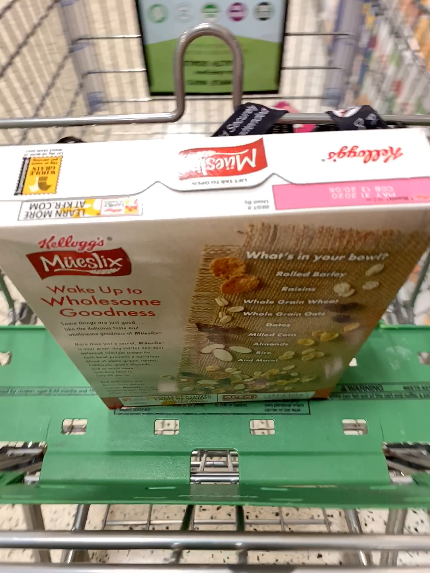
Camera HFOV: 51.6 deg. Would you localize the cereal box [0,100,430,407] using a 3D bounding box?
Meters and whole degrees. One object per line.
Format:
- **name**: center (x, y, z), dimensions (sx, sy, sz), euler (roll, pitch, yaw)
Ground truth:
- **cereal box**: center (0.007, 0.012, 0.273), dimensions (0.190, 0.248, 0.050), euler (-2, 59, -1)
